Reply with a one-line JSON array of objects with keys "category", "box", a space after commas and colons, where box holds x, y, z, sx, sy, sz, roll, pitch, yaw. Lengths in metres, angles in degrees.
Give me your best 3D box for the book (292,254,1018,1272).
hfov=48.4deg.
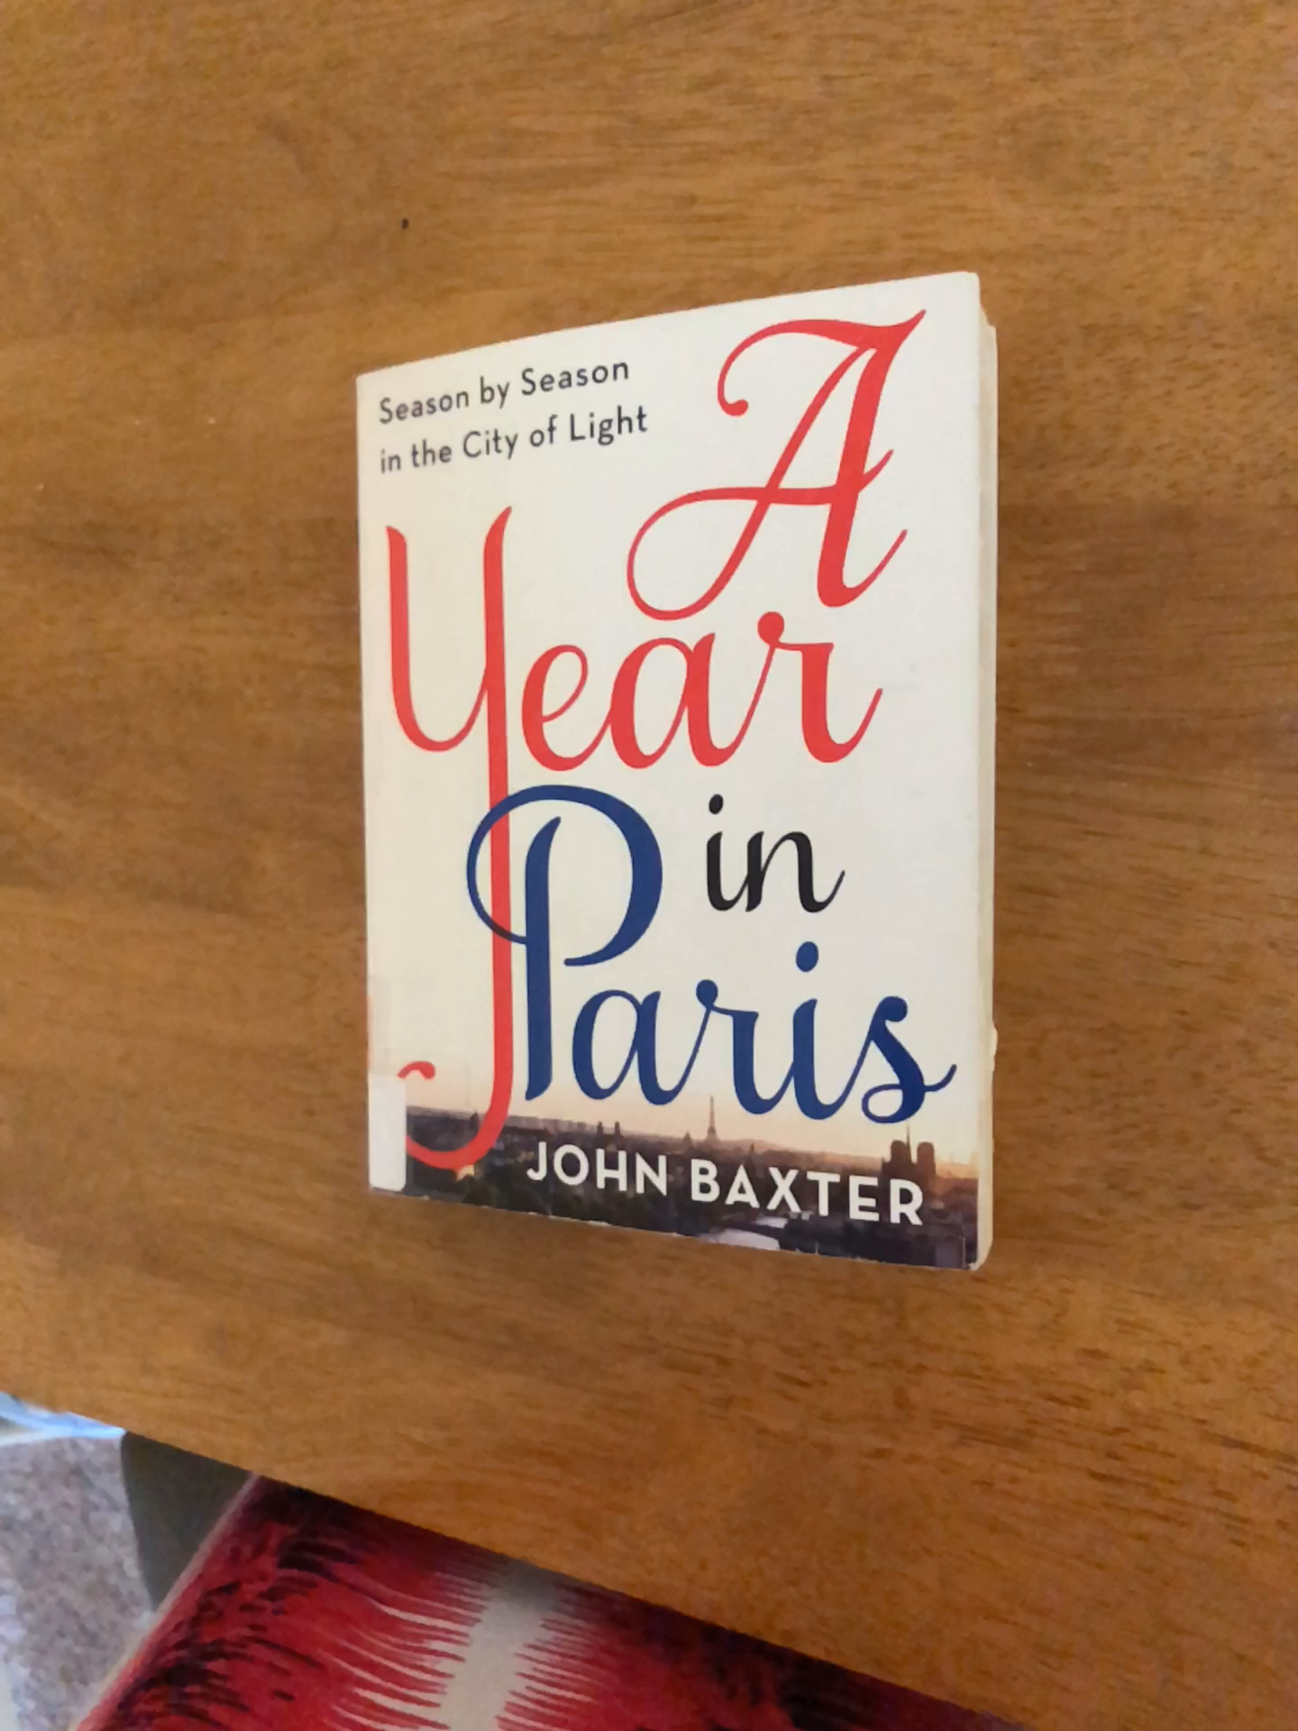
[{"category": "book", "box": [-0.002, -0.018, 0.308, 0.150, 0.040, 0.182, 1, 92, 25]}]
